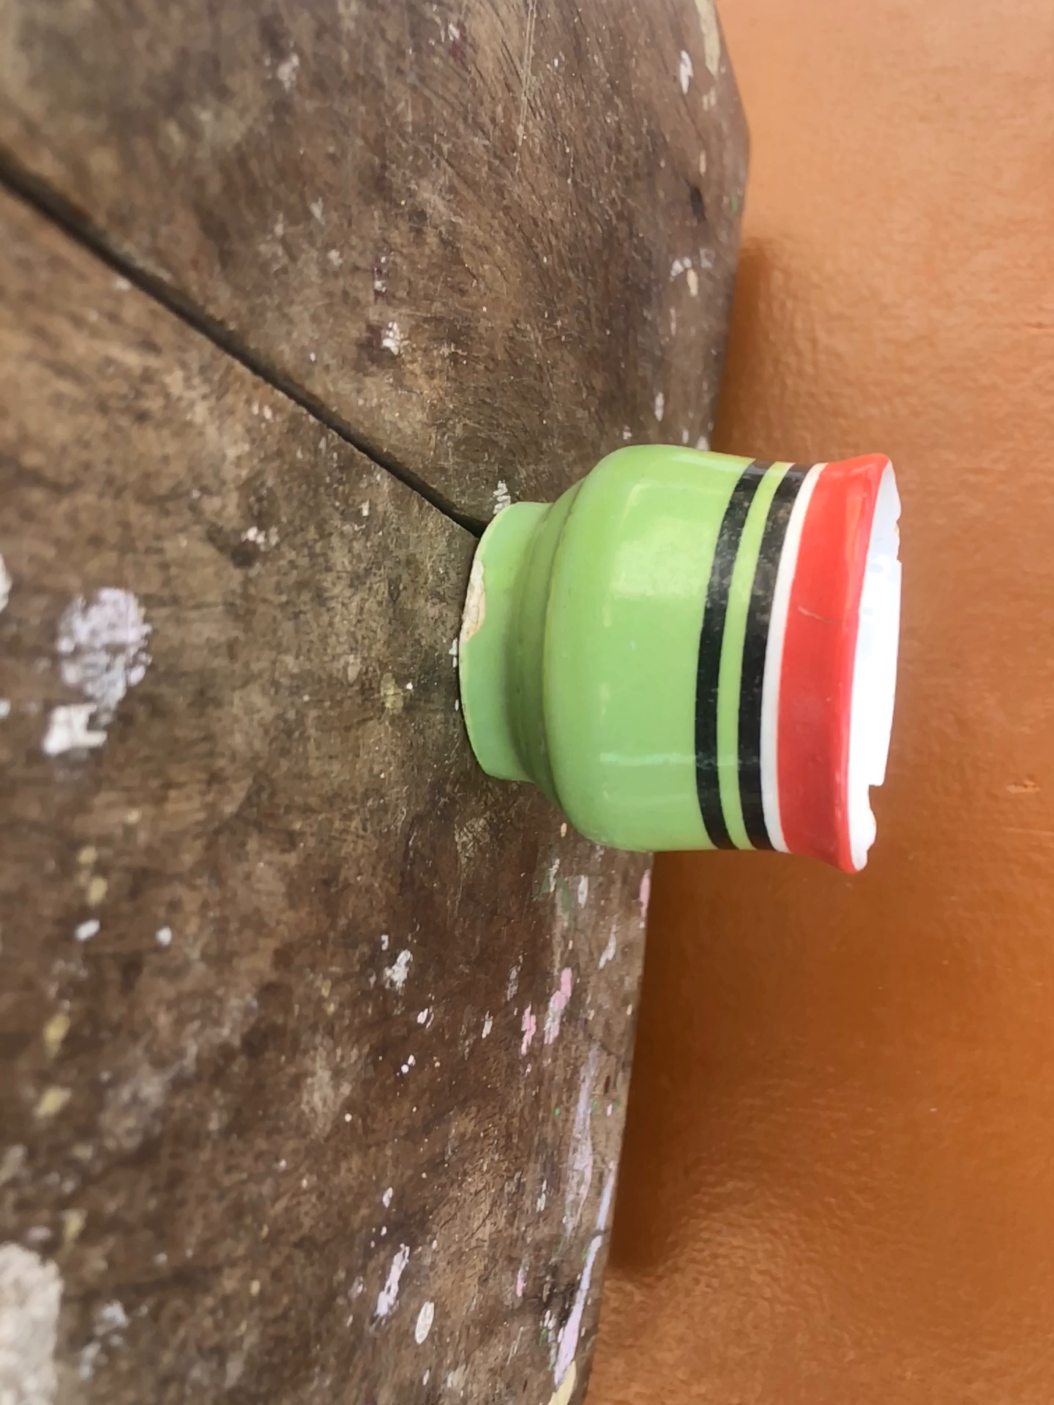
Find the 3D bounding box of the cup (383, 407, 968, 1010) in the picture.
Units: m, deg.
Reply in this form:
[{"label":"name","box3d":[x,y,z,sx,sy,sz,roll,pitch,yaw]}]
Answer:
[{"label":"cup","box3d":[0.031,-0.009,0.190,0.090,0.070,0.070,-39,130,-66]}]
